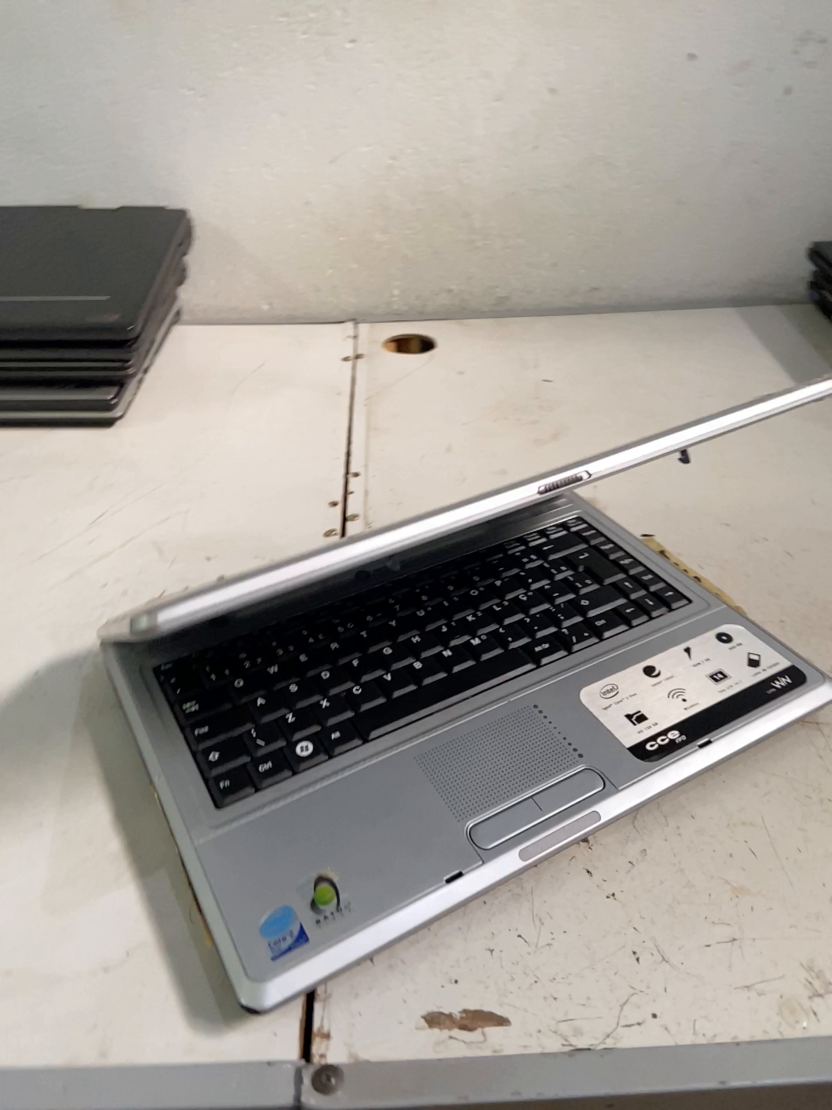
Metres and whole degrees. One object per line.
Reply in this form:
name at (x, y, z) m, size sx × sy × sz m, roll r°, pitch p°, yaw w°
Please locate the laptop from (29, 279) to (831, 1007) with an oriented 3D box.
laptop at (0.022, -0.003, 0.433) m, size 0.336 × 0.153 × 0.243 m, roll -19°, pitch 39°, yaw -24°
